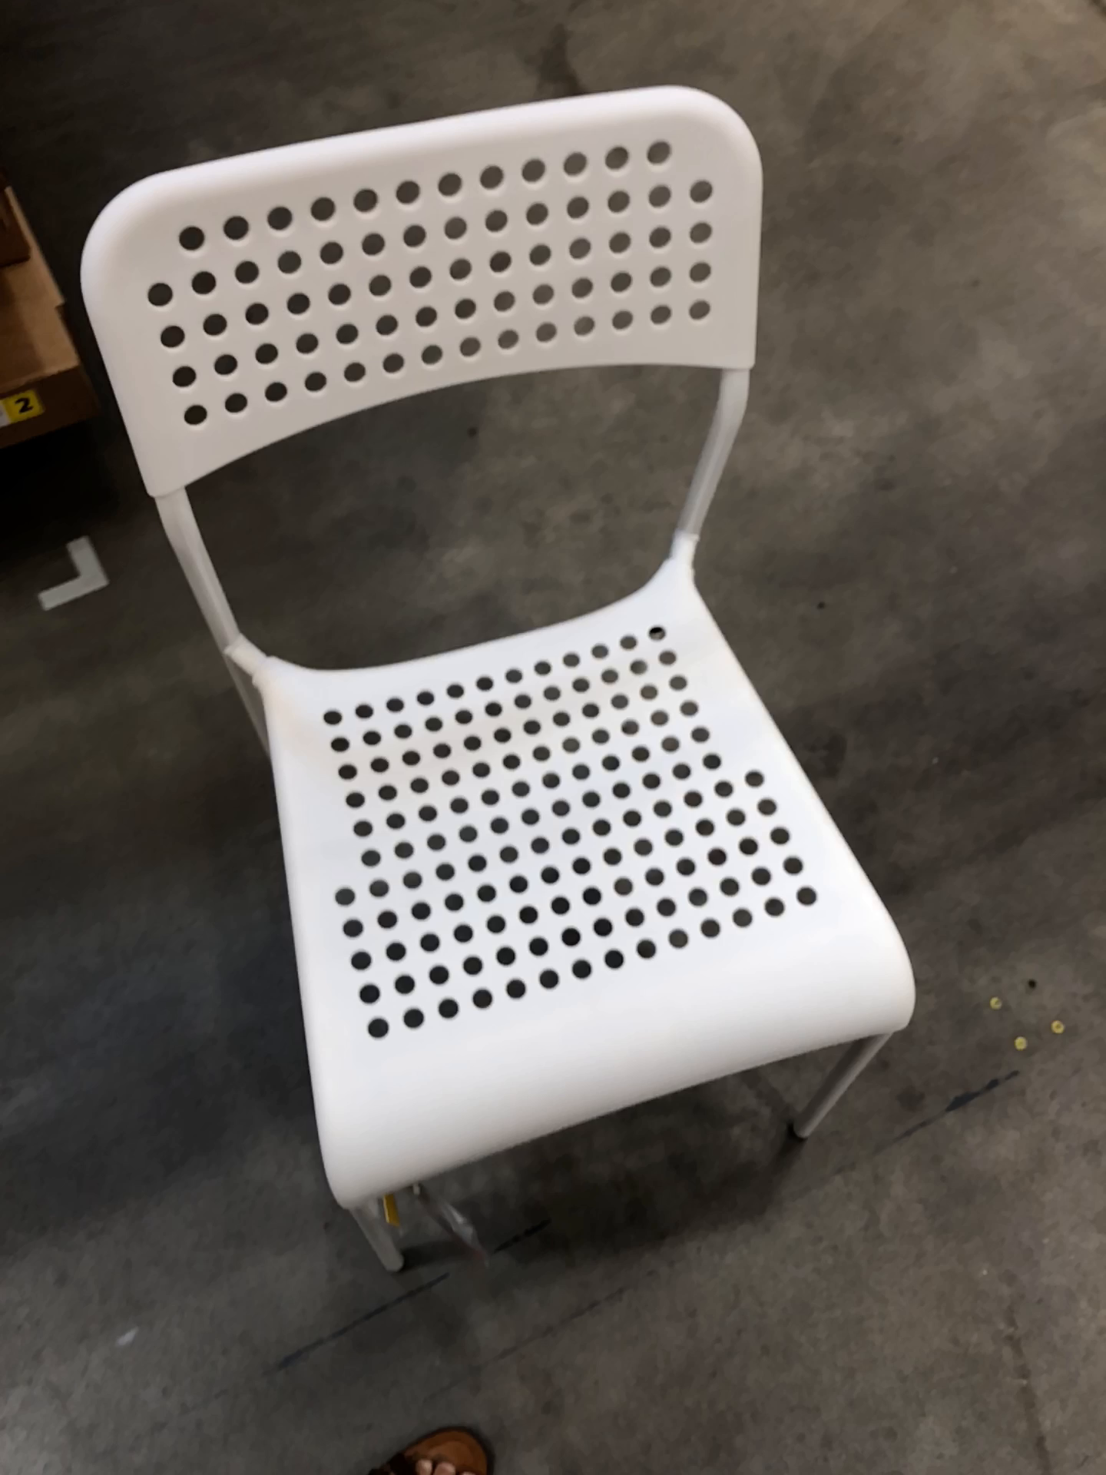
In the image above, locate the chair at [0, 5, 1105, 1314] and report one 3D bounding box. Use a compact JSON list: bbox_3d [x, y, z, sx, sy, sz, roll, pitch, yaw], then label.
[{"bbox_3d":[0.006,0.038,0.827,0.460,0.699,0.511,-14,65,-9],"label":"chair"}]
